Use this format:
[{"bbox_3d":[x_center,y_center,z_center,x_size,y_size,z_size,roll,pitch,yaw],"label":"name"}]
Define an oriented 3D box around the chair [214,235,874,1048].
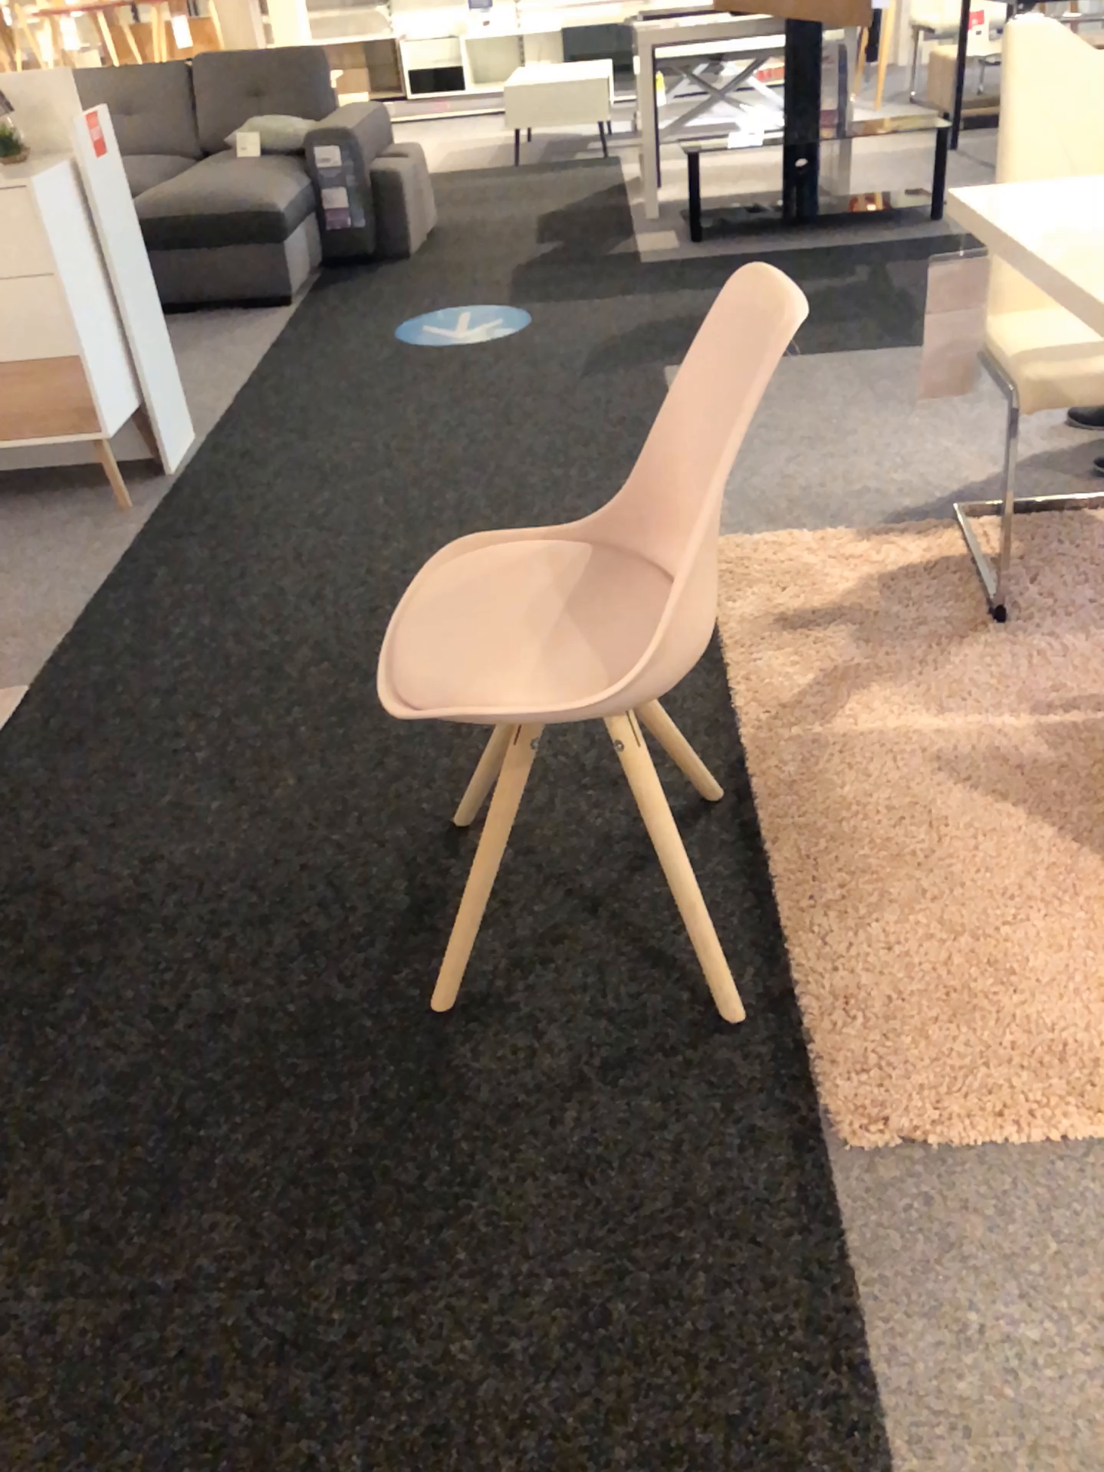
[{"bbox_3d":[0.025,-0.121,1.468,0.560,0.766,0.573,-4,33,3],"label":"chair"}]
